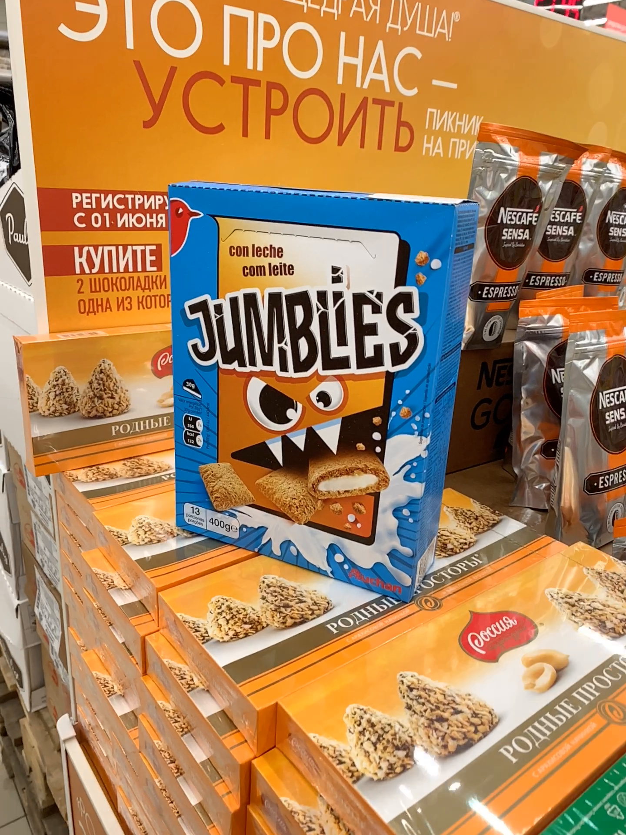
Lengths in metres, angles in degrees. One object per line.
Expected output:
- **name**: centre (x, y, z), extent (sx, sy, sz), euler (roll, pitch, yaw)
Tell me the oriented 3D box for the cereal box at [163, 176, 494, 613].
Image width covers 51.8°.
- **cereal box**: centre (-0.001, -0.023, 0.443), extent (0.200, 0.259, 0.060), euler (12, 21, 24)
